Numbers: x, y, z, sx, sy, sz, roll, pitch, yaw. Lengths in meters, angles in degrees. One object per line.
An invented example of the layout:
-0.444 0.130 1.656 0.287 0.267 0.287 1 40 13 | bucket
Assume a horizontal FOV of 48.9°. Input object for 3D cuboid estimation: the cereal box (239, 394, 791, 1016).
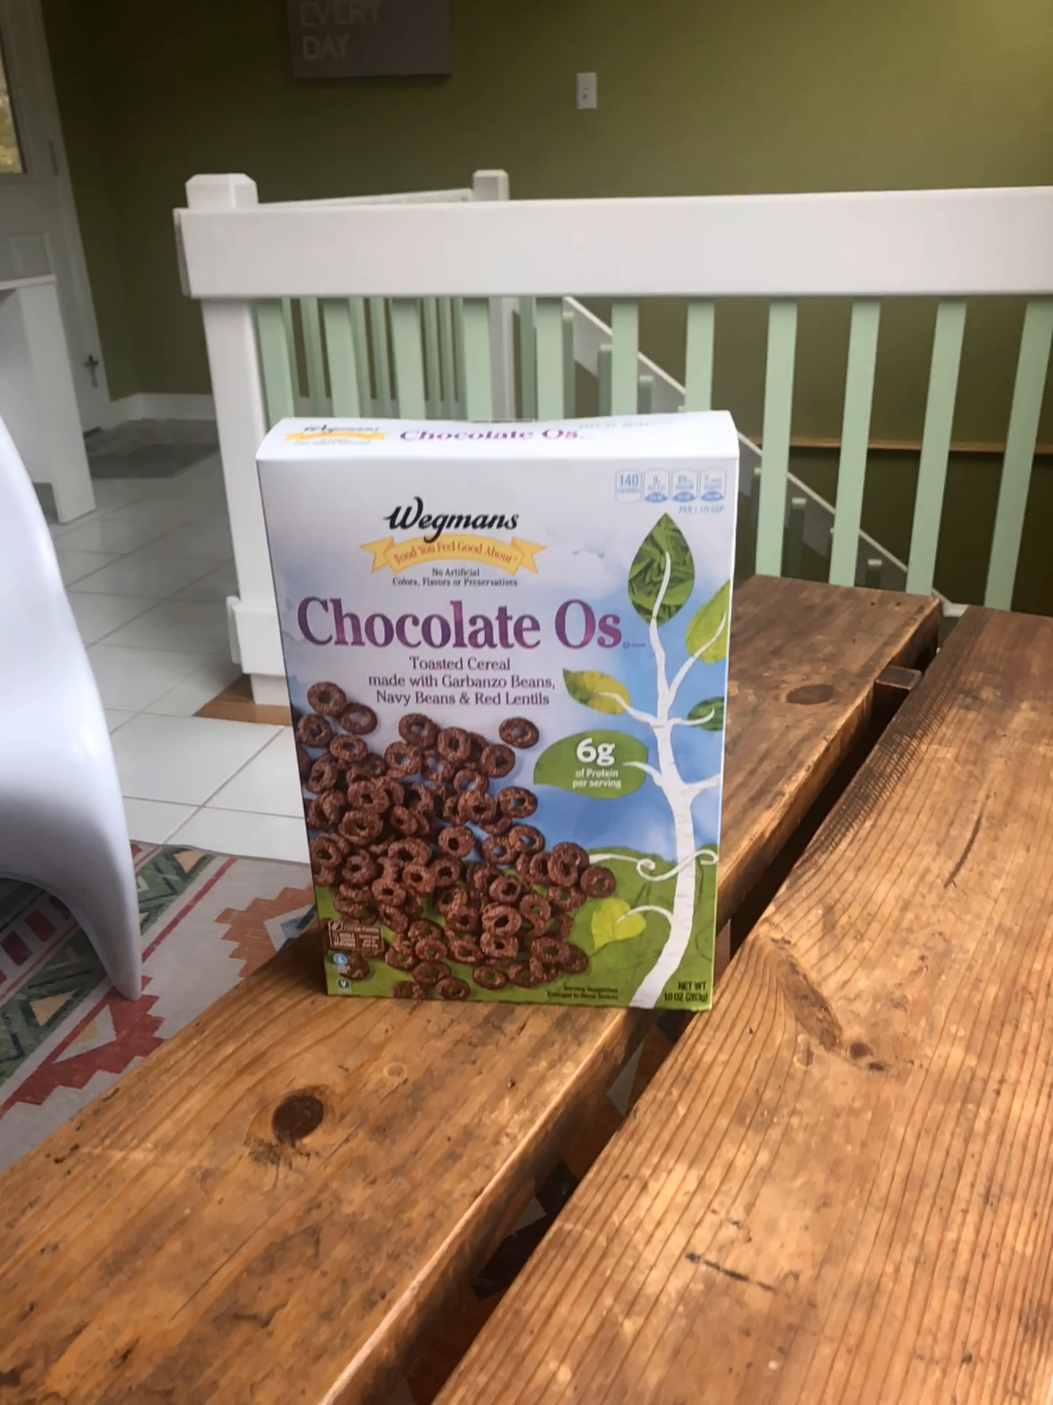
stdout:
0.000 0.009 0.525 0.210 0.278 0.060 1 26 5 | cereal box
